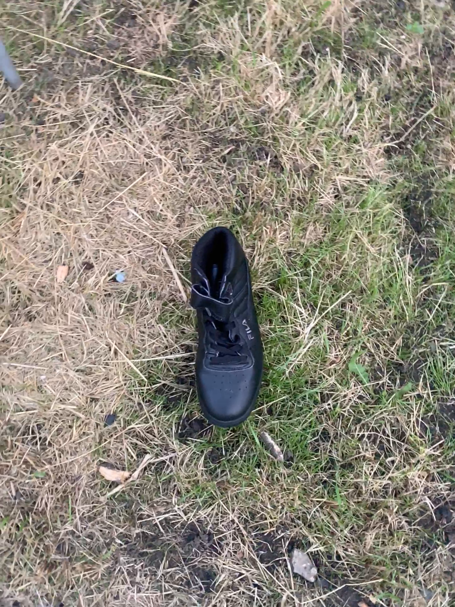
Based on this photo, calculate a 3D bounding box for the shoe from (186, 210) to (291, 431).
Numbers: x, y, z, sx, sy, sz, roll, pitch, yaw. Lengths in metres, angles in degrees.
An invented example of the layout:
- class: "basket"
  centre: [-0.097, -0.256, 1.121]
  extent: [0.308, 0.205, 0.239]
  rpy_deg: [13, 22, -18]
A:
- class: "shoe"
  centre: [0.005, 0.026, 0.623]
  extent: [0.110, 0.120, 0.271]
  rpy_deg: [-2, 73, -5]
